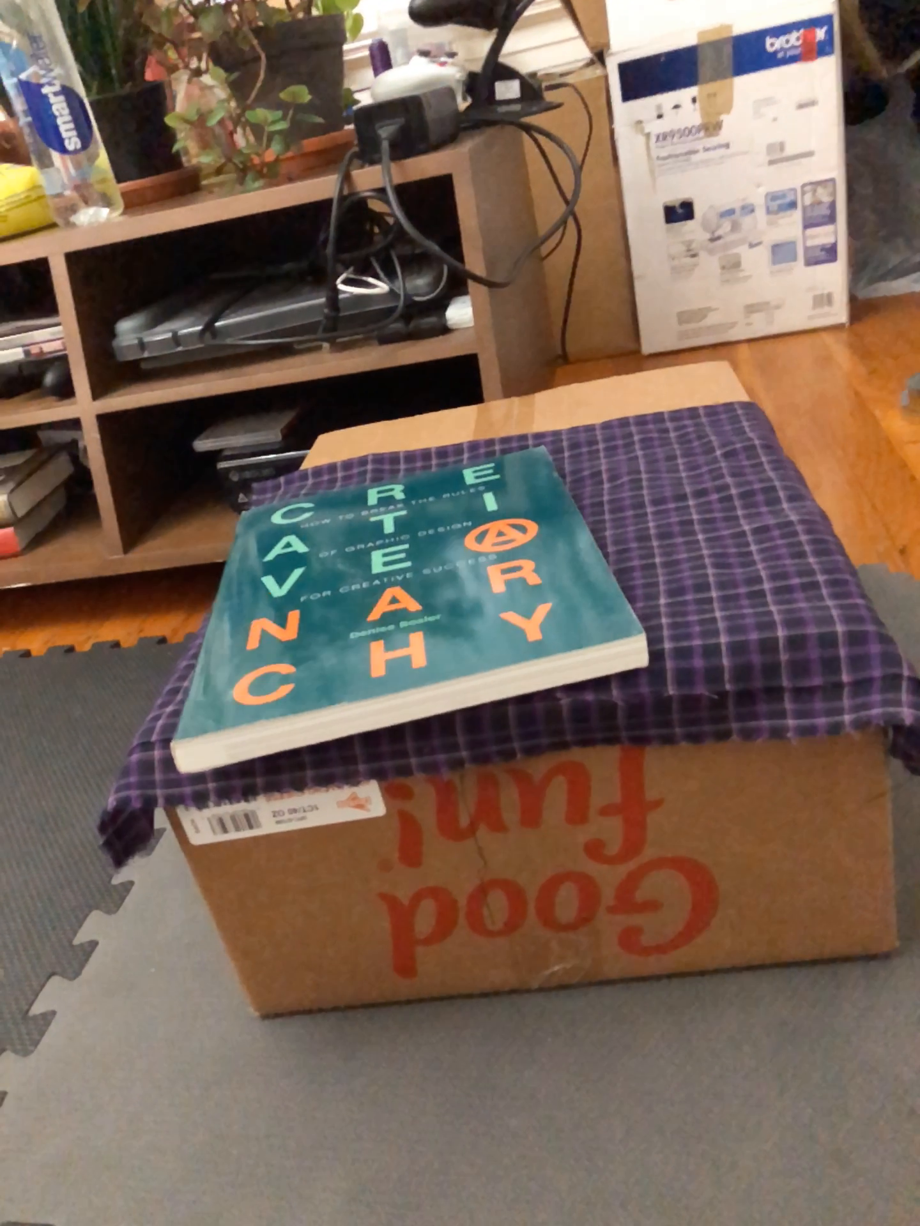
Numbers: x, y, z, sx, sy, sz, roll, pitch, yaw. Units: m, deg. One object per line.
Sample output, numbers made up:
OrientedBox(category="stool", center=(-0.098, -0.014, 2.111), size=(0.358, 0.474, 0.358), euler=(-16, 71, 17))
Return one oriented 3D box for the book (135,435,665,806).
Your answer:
OrientedBox(category="book", center=(-0.038, -0.020, 0.551), size=(0.220, 0.020, 0.302), euler=(-13, 27, 1))
